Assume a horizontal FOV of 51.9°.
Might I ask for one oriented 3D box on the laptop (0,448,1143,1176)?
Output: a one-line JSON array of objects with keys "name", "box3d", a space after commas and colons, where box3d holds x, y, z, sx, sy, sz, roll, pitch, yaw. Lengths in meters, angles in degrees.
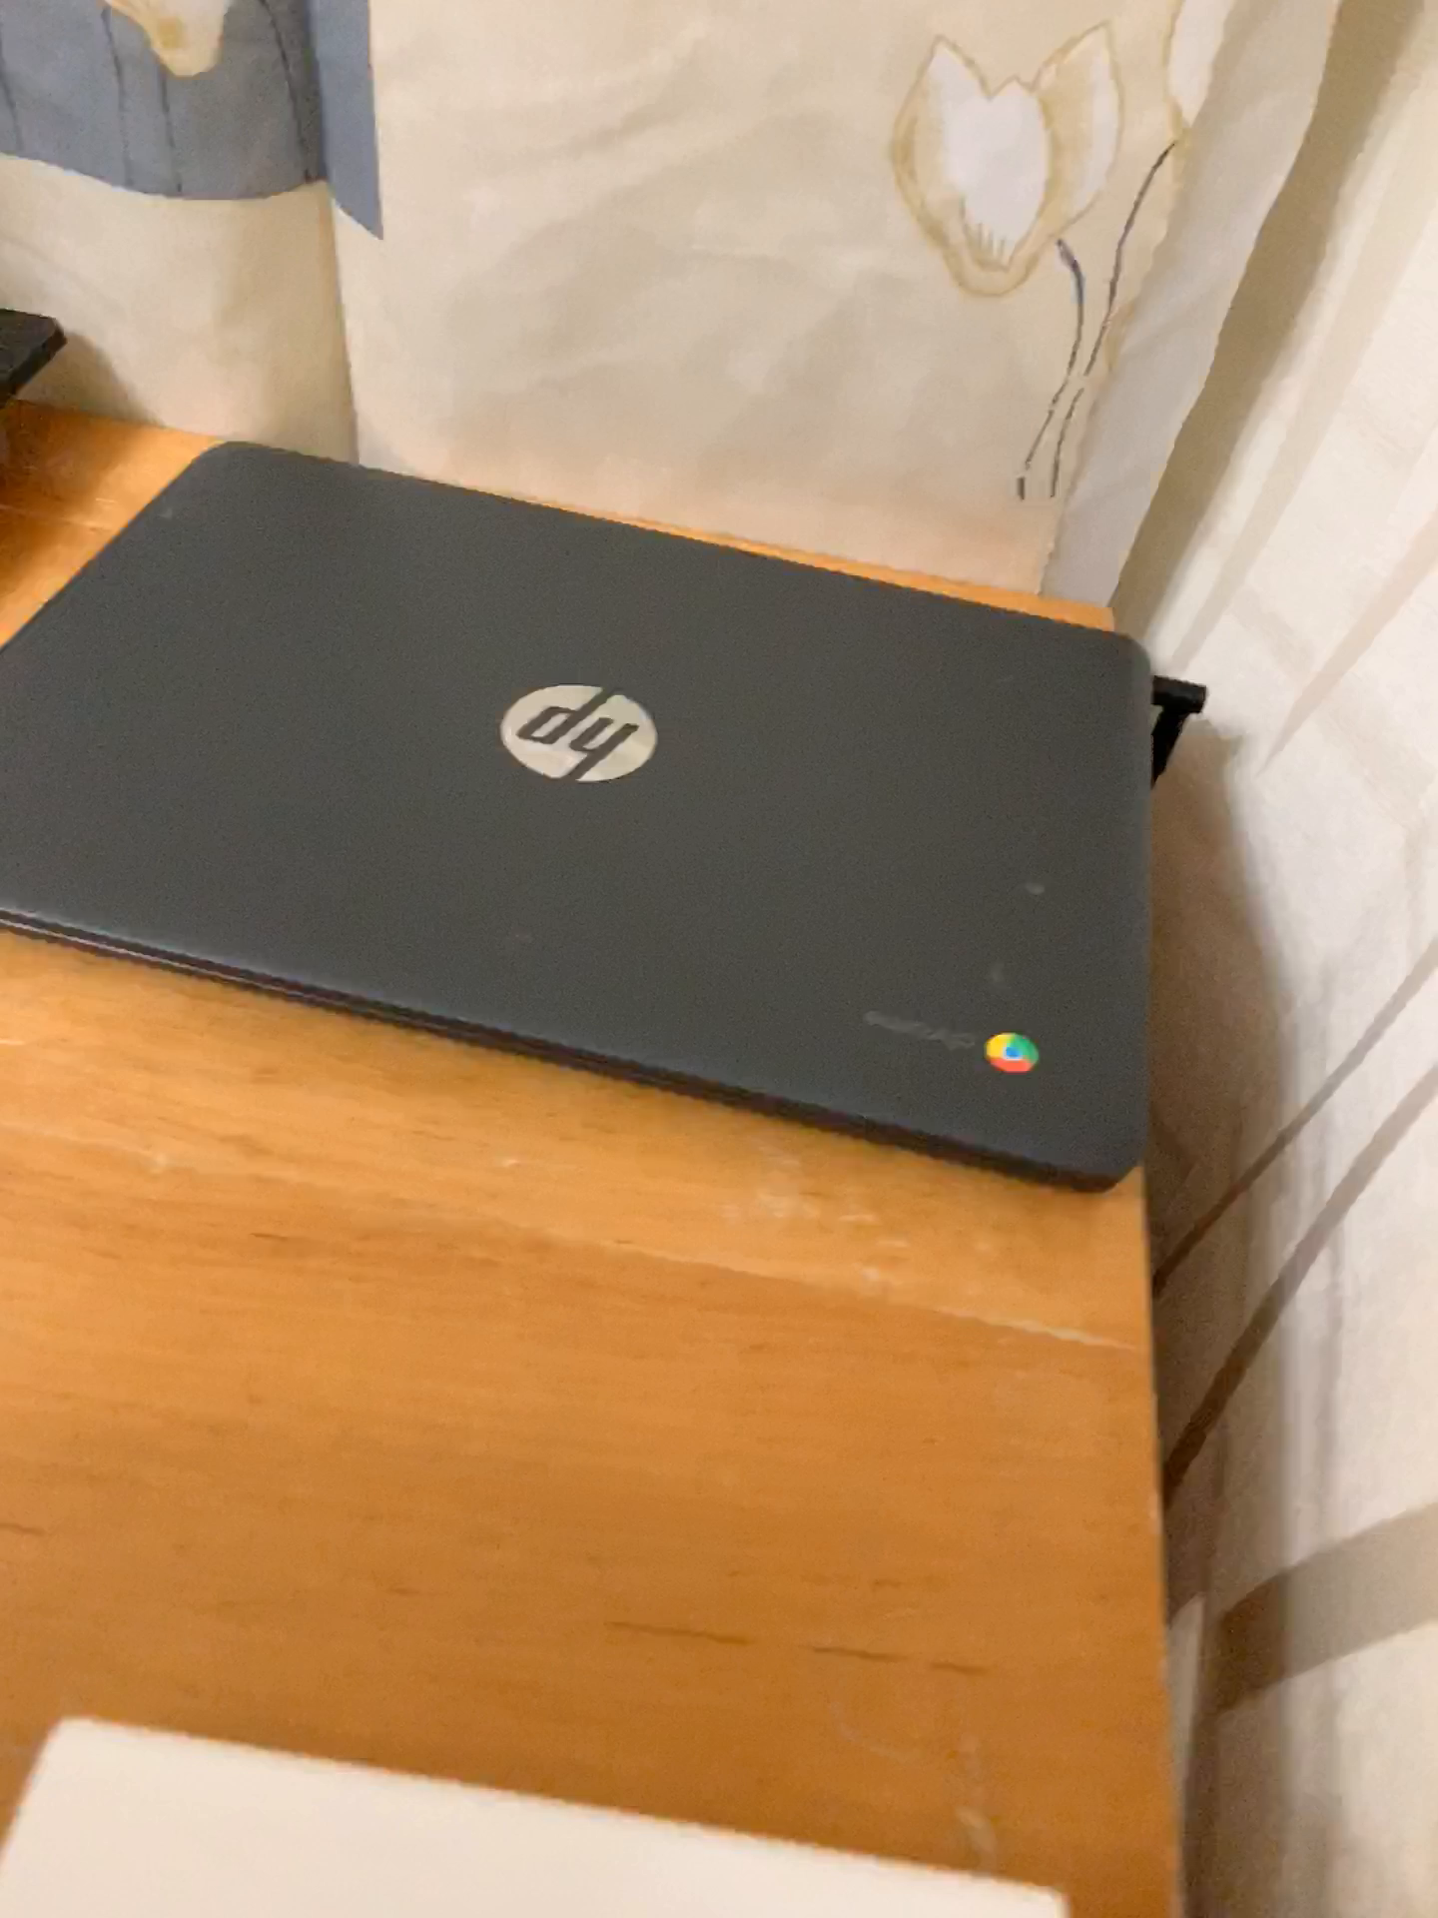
[{"name": "laptop", "box3d": [-0.035, -0.057, 0.369, 0.281, 0.002, 0.195, 13, 45, 5]}]
